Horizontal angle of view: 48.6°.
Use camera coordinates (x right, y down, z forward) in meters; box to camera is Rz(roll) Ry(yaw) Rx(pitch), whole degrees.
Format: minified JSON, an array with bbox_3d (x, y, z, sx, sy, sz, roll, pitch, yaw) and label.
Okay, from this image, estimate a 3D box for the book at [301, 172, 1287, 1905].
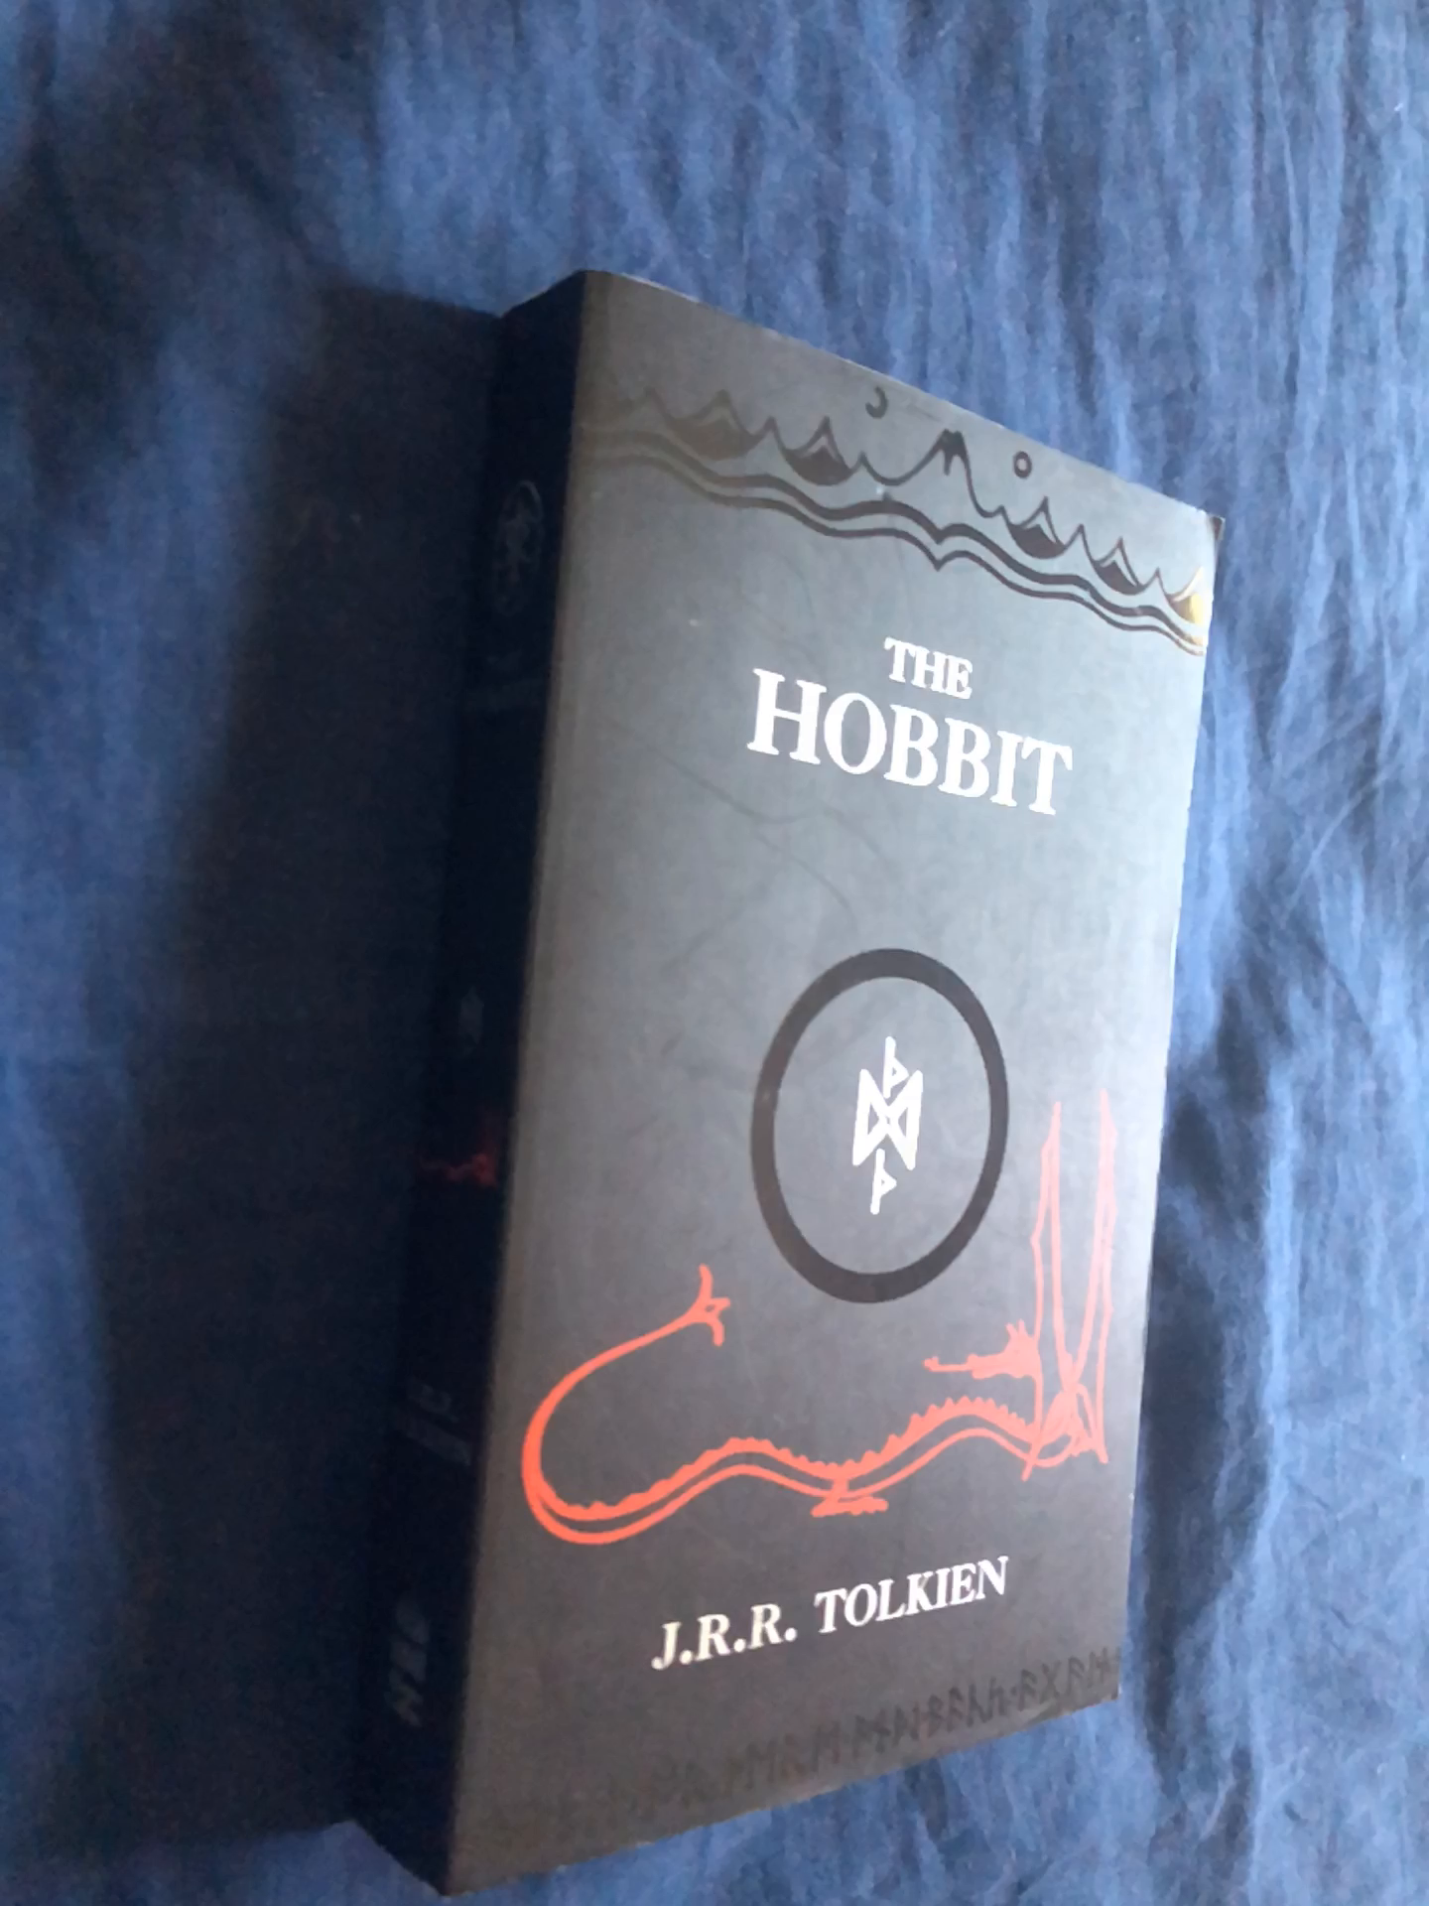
[{"bbox_3d":[0.019,0.016,0.209,0.120,0.040,0.180,7,87,-38],"label":"book"}]
